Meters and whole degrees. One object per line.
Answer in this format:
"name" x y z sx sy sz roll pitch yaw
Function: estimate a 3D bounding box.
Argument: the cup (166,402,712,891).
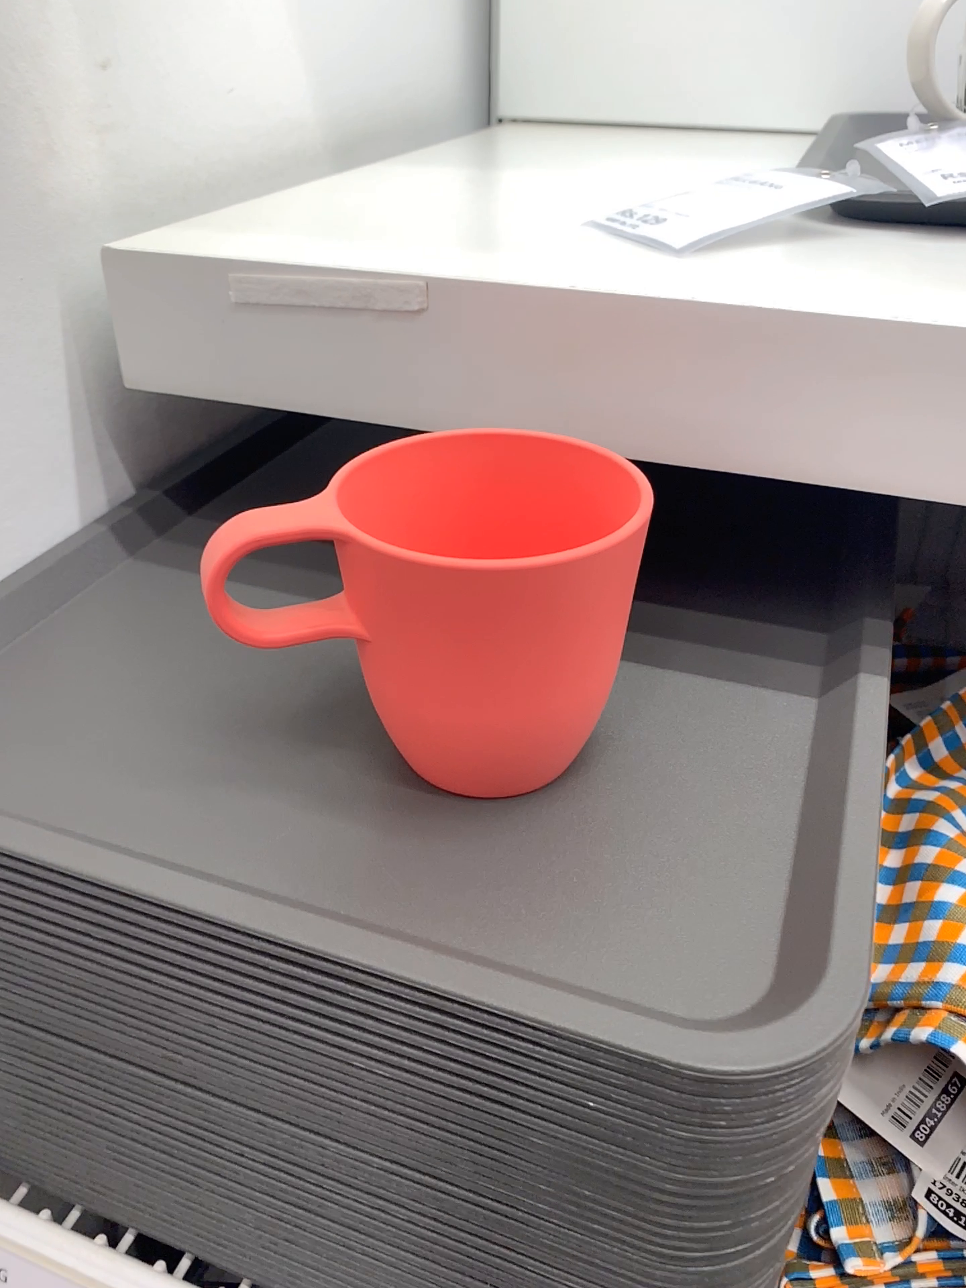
"cup" -0.013 -0.006 0.256 0.110 0.080 0.070 -13 34 -20
